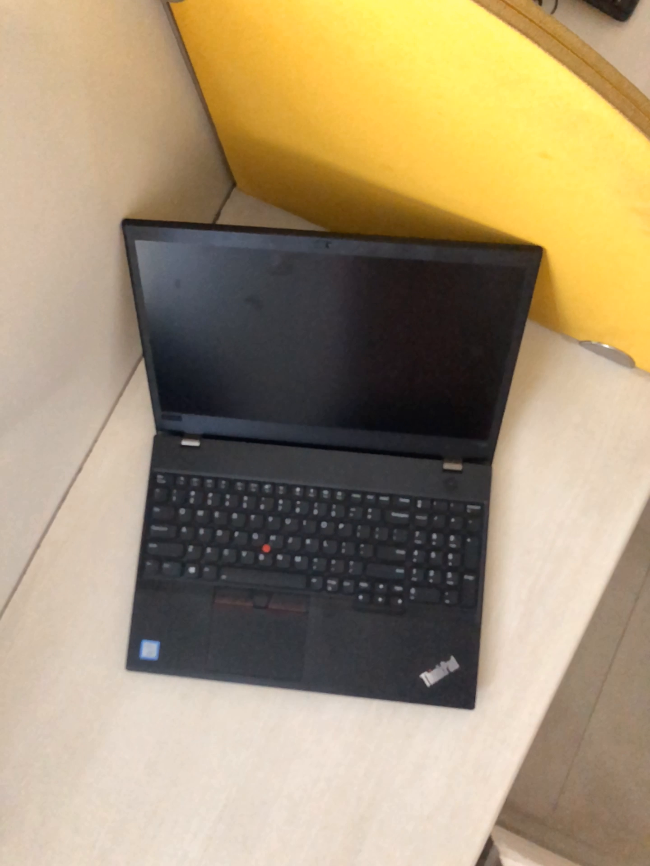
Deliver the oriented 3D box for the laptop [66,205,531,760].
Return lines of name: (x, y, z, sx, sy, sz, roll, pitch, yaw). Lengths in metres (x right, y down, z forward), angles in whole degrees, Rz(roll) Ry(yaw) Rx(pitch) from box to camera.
laptop: (-0.015, 0.041, 0.660, 0.344, 0.151, 0.420, 5, 86, 3)
